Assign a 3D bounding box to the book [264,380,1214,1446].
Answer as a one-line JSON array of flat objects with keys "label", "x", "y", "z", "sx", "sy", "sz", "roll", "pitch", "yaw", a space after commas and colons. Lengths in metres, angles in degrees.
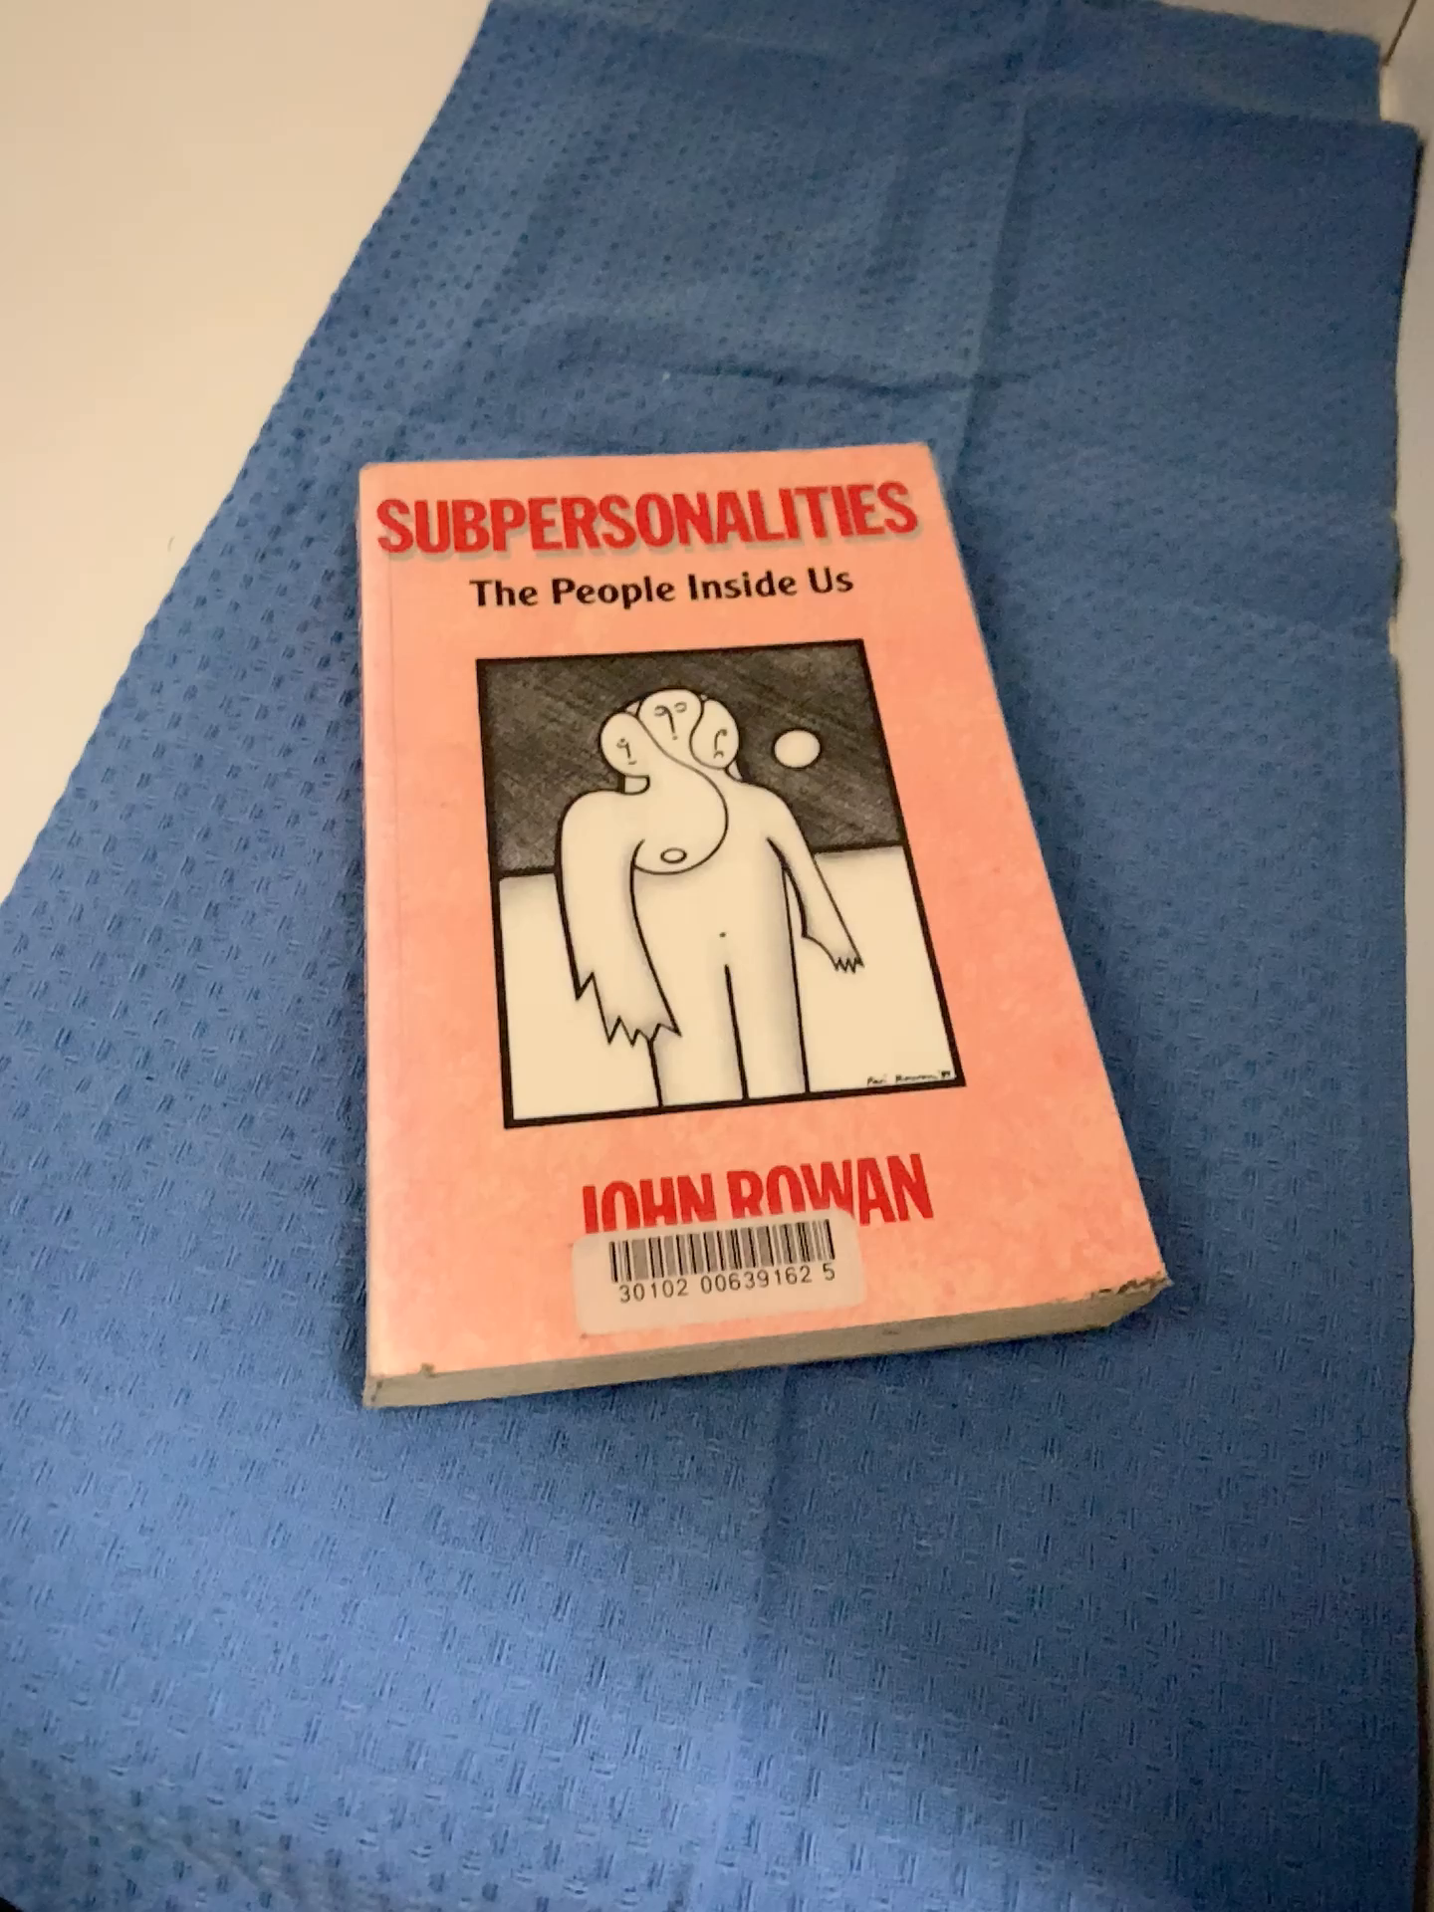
[{"label": "book", "x": -0.011, "y": -0.028, "z": 0.319, "sx": 0.160, "sy": 0.040, "sz": 0.231, "roll": -5, "pitch": 60, "yaw": -8}]
